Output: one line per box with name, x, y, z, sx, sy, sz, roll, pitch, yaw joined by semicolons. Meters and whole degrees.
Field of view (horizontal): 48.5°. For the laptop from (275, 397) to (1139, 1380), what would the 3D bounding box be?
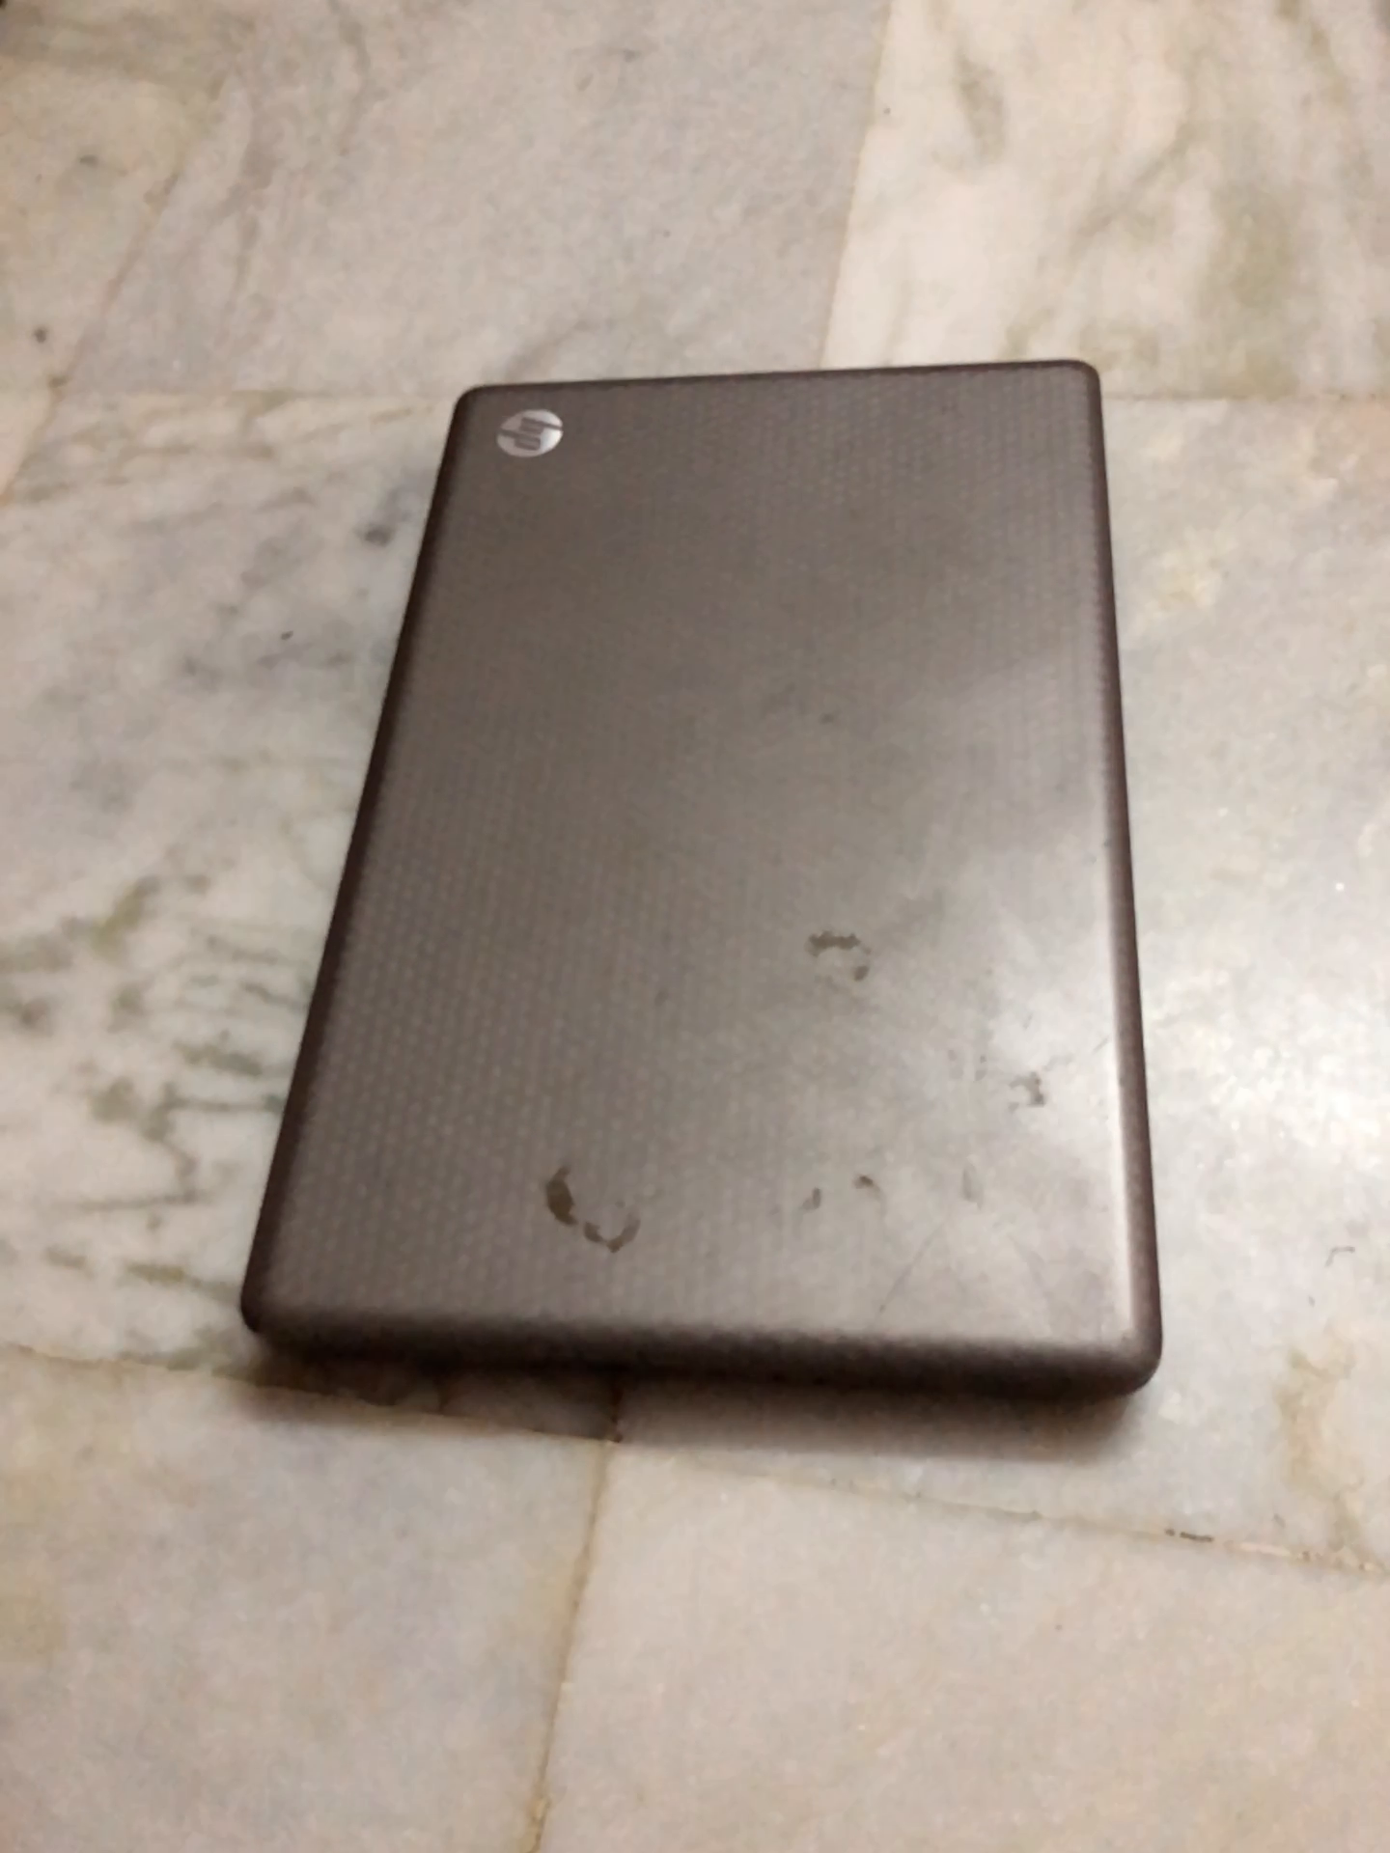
laptop;0.016;-0.043;0.531;0.248;0.002;0.379;1;60;10
